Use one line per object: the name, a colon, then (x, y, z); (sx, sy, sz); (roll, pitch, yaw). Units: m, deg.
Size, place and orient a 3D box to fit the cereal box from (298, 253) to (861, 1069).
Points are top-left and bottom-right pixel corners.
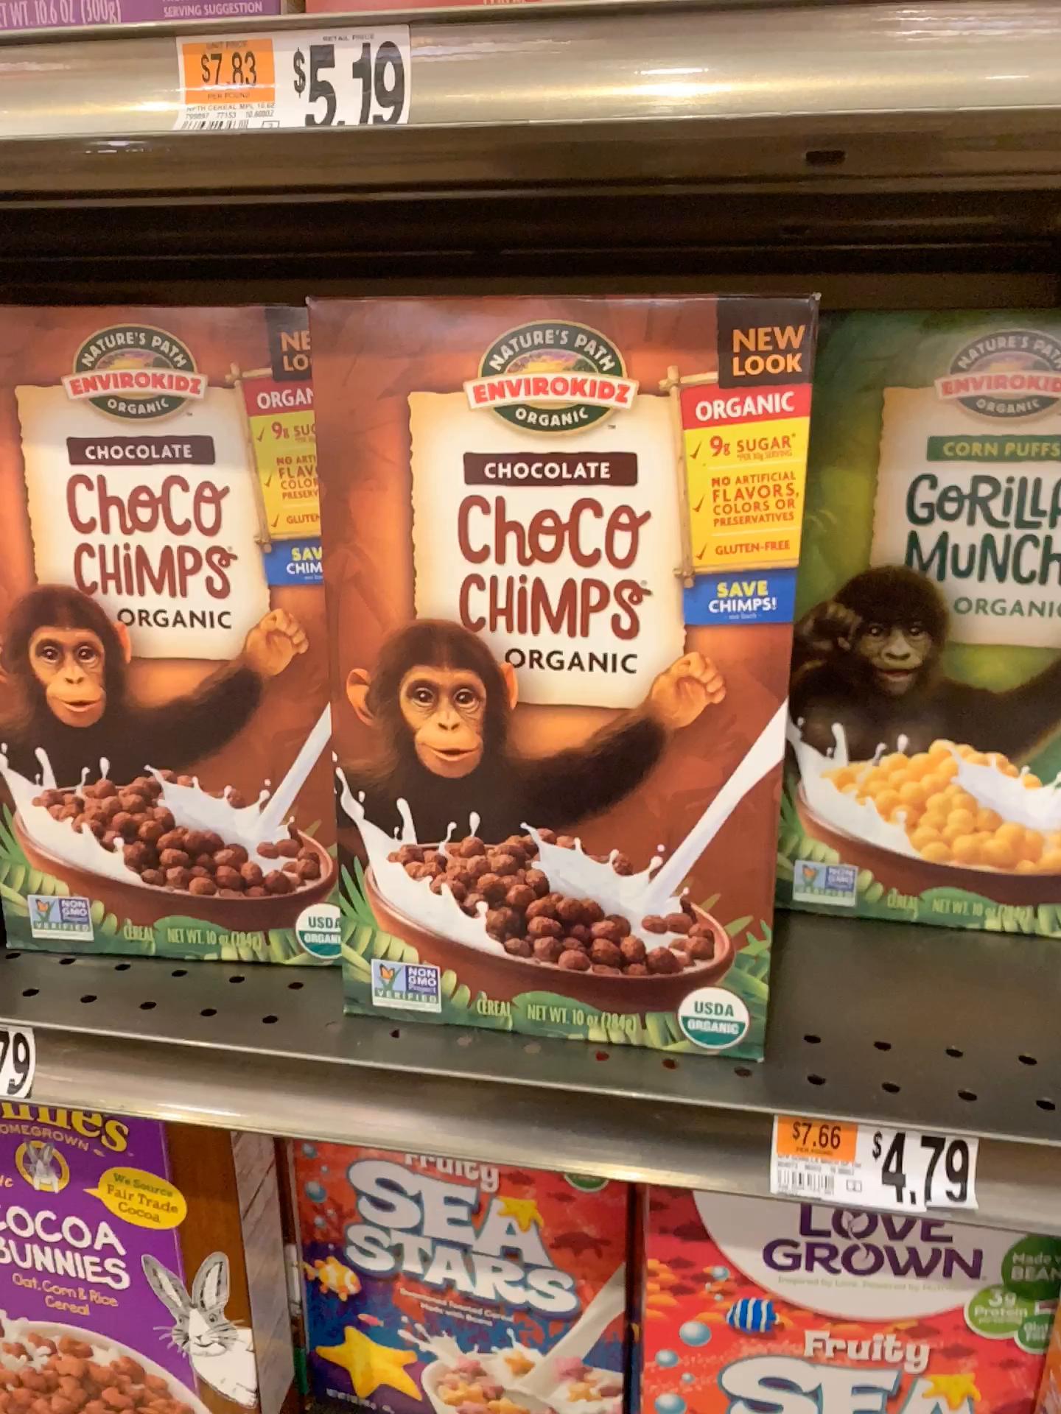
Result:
cereal box: (0.015, -0.014, 0.394); (0.170, 0.269, 0.060); (4, 17, 10)
